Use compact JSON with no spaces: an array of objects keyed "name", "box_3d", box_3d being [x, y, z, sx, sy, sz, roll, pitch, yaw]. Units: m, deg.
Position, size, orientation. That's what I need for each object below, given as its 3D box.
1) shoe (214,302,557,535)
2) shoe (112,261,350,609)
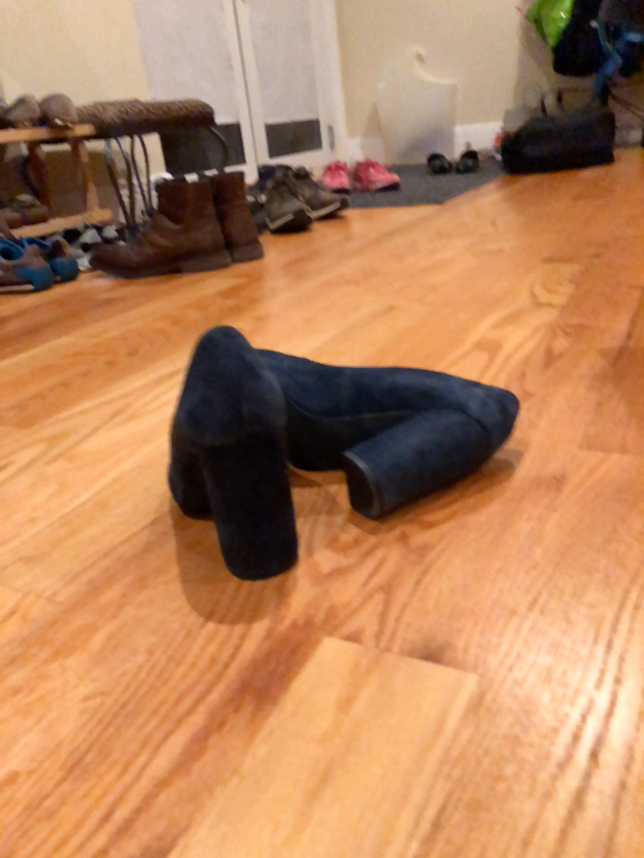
[{"name":"shoe","box_3d":[0.040,-0.024,0.525,0.152,0.080,0.205,-21,27,-29]},{"name":"shoe","box_3d":[-0.070,-0.017,0.467,0.080,0.146,0.227,-15,24,-17]}]
